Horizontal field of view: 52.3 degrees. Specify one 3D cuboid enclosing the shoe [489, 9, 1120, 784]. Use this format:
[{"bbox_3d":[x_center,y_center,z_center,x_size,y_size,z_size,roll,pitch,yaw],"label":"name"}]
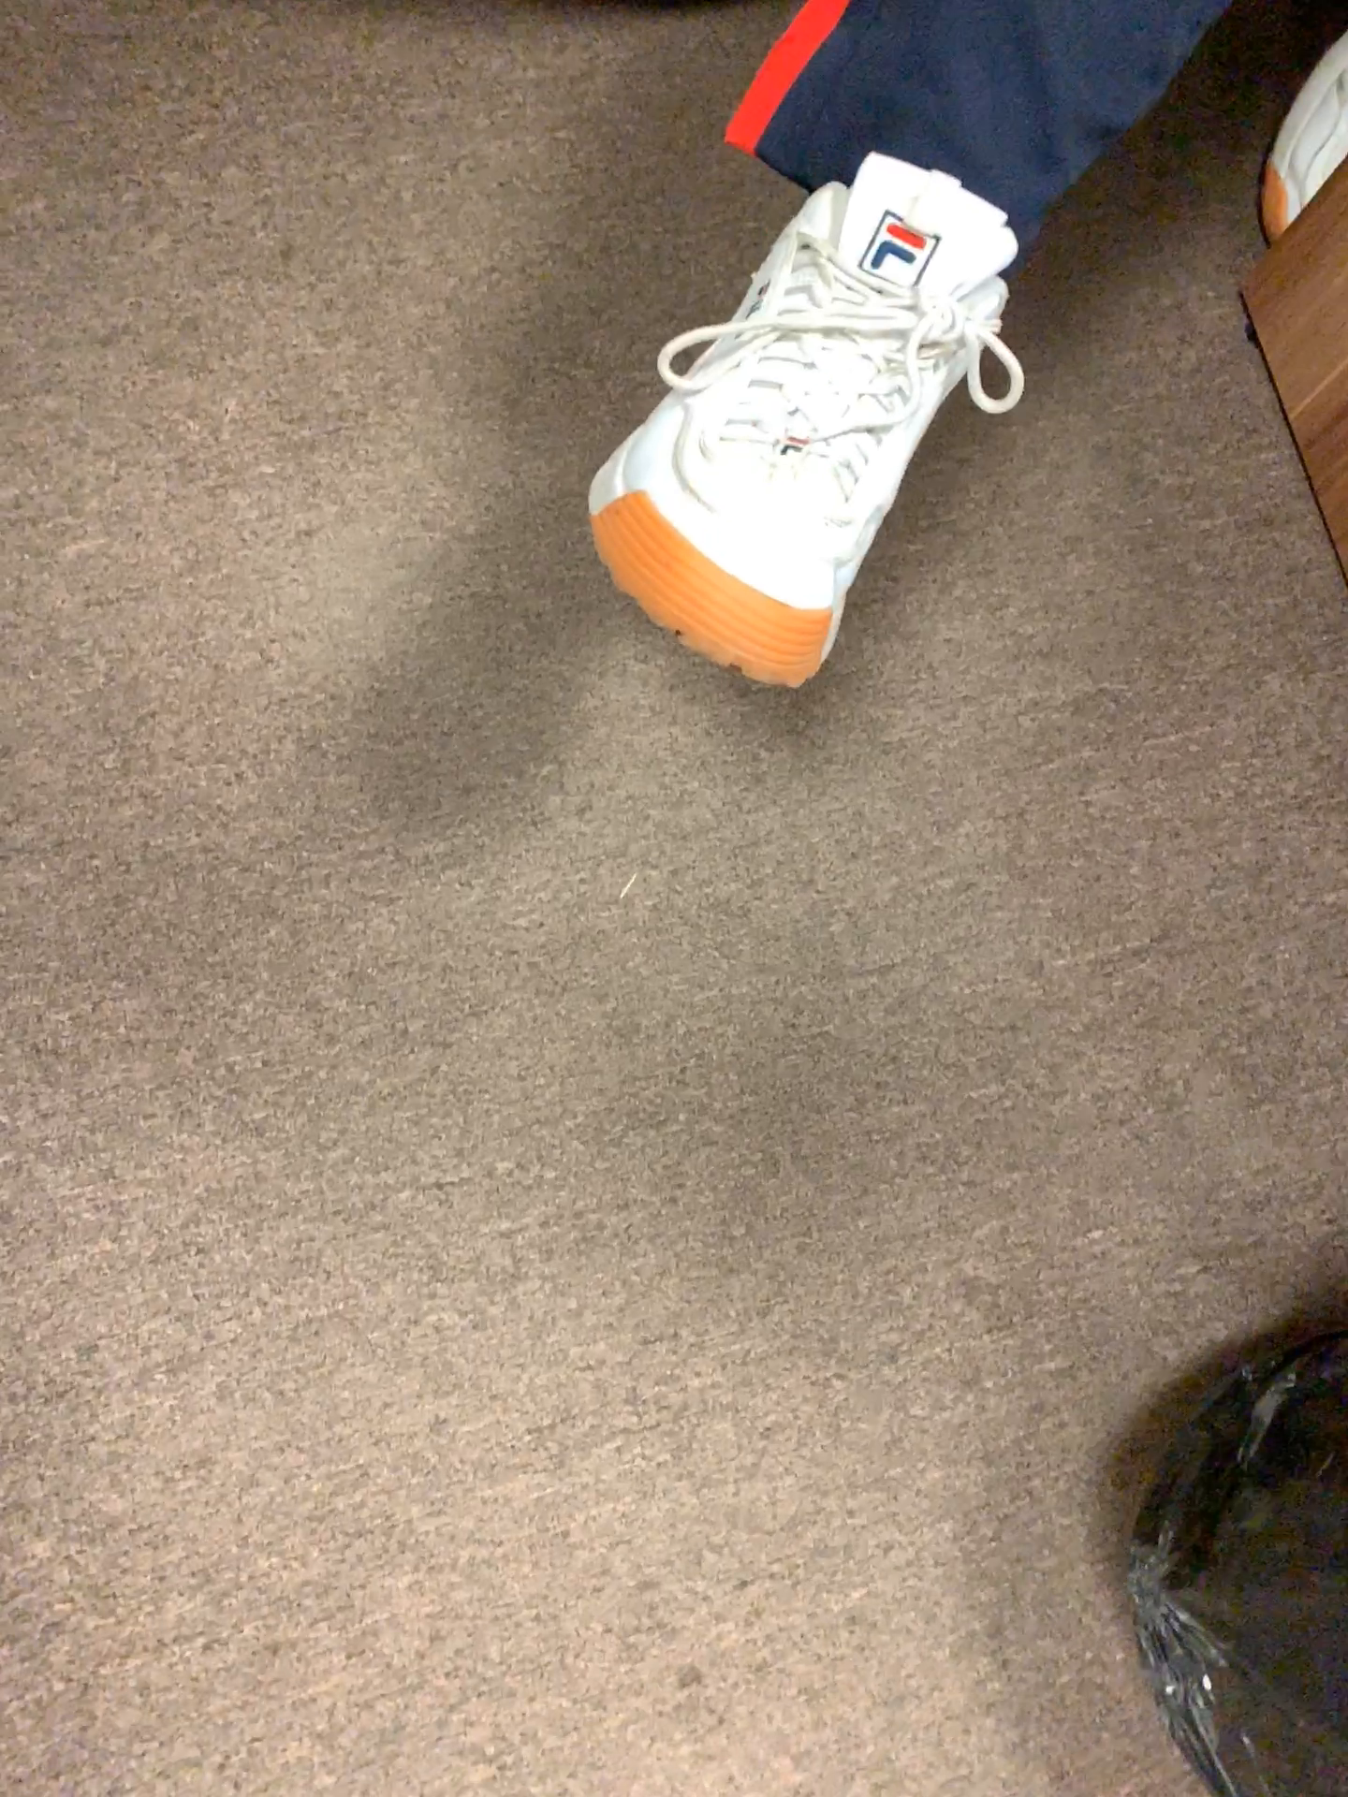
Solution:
[{"bbox_3d":[0.055,-0.188,0.505,0.130,0.130,0.230,30,52,-8],"label":"shoe"}]
